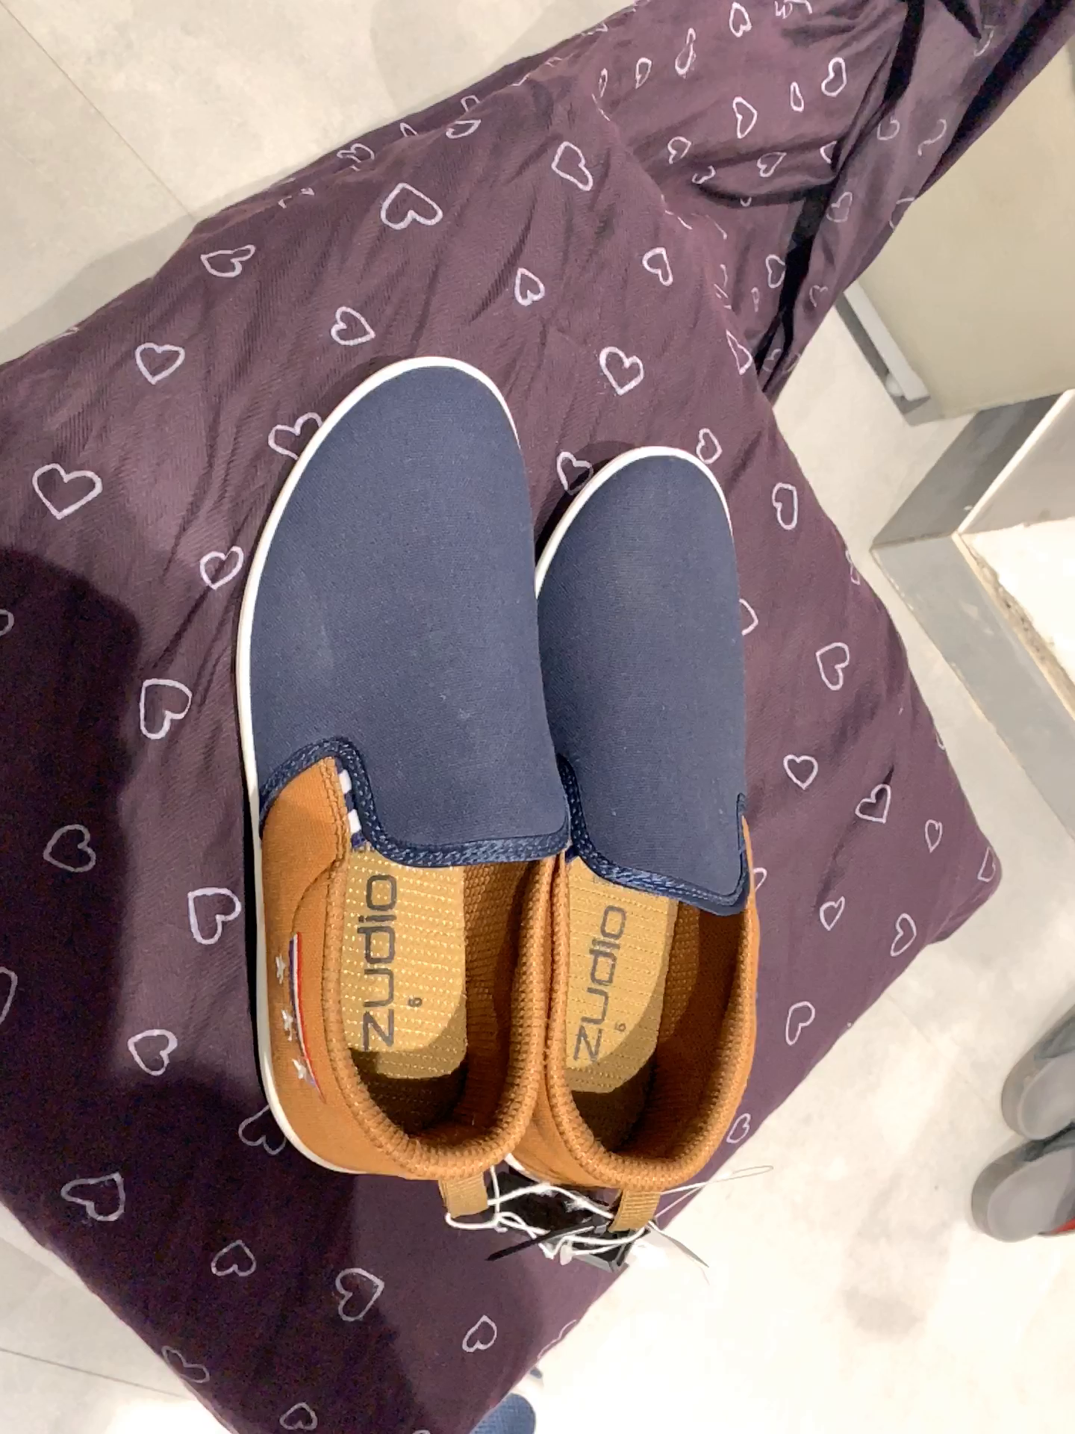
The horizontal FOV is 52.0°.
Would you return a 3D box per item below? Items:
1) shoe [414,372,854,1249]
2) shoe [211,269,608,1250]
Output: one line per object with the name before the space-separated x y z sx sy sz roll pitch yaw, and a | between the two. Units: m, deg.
shoe | 0.034 0.033 0.386 0.100 0.060 0.270 9 88 -26
shoe | -0.042 0.014 0.352 0.100 0.060 0.270 2 91 -26
